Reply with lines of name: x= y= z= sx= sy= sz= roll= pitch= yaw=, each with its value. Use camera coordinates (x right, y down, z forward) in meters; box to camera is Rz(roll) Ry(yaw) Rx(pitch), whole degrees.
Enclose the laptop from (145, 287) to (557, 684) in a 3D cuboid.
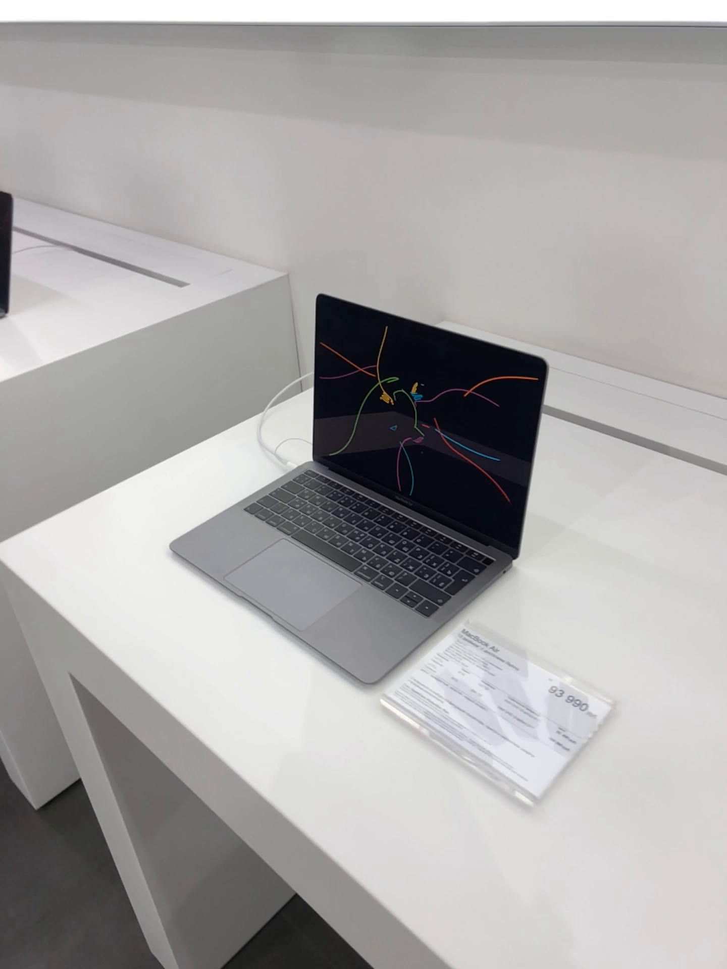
laptop: x=-0.009 y=-0.026 z=0.763 sx=0.285 sy=0.194 sz=0.250 roll=25 pitch=44 yaw=37
